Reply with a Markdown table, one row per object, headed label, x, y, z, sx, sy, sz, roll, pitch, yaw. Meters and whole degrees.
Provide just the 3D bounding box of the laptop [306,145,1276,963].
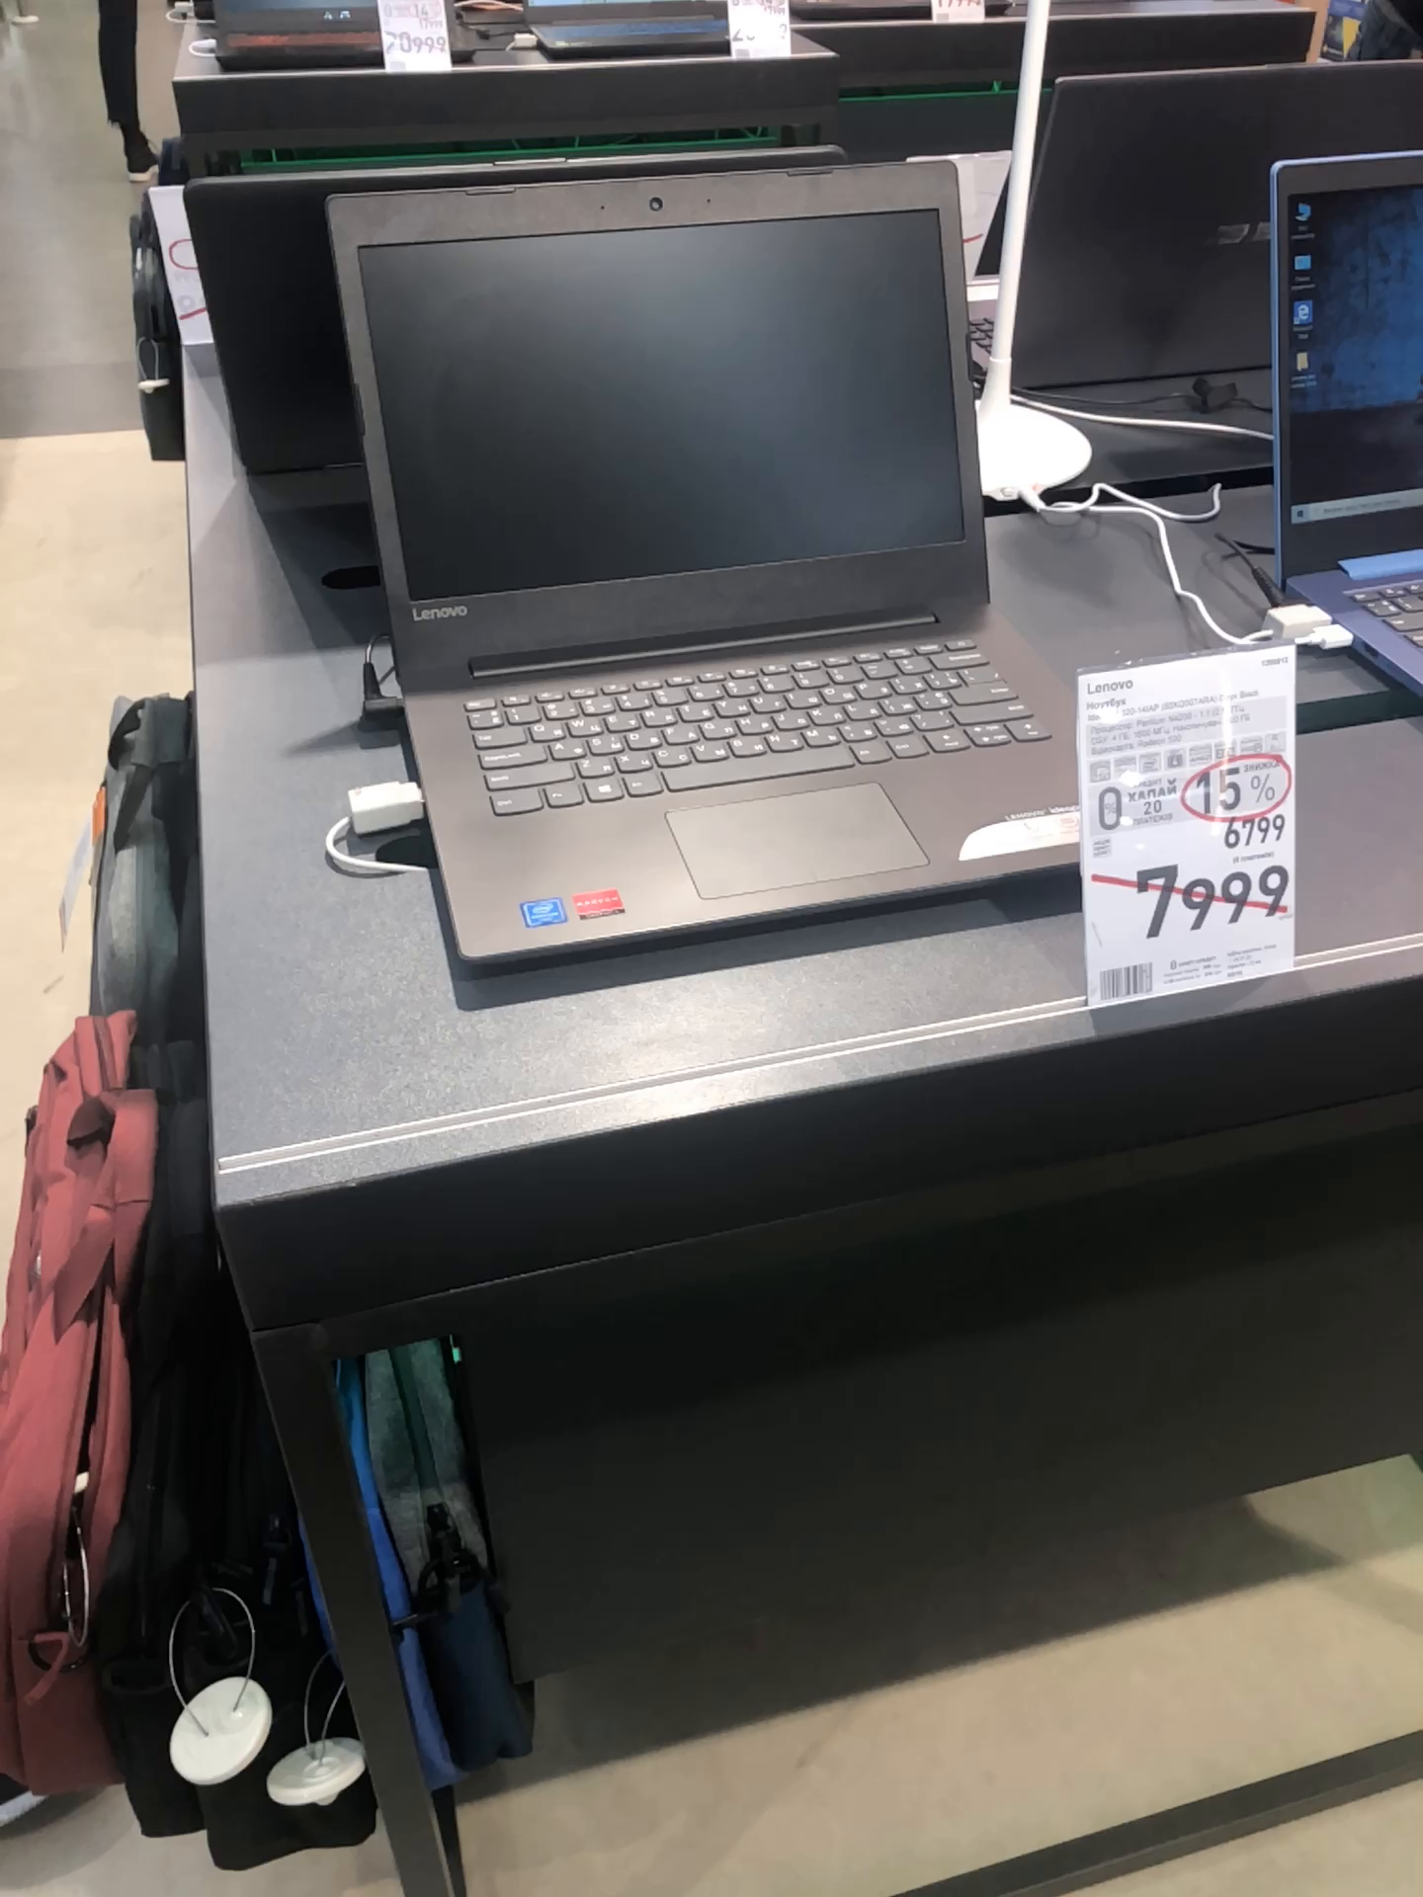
| label | x | y | z | sx | sy | sz | roll | pitch | yaw |
| --- | --- | --- | --- | --- | --- | --- | --- | --- | --- |
| laptop | 0.005 | -0.216 | 0.747 | 0.330 | 0.205 | 0.362 | -10 | 41 | -12 |
